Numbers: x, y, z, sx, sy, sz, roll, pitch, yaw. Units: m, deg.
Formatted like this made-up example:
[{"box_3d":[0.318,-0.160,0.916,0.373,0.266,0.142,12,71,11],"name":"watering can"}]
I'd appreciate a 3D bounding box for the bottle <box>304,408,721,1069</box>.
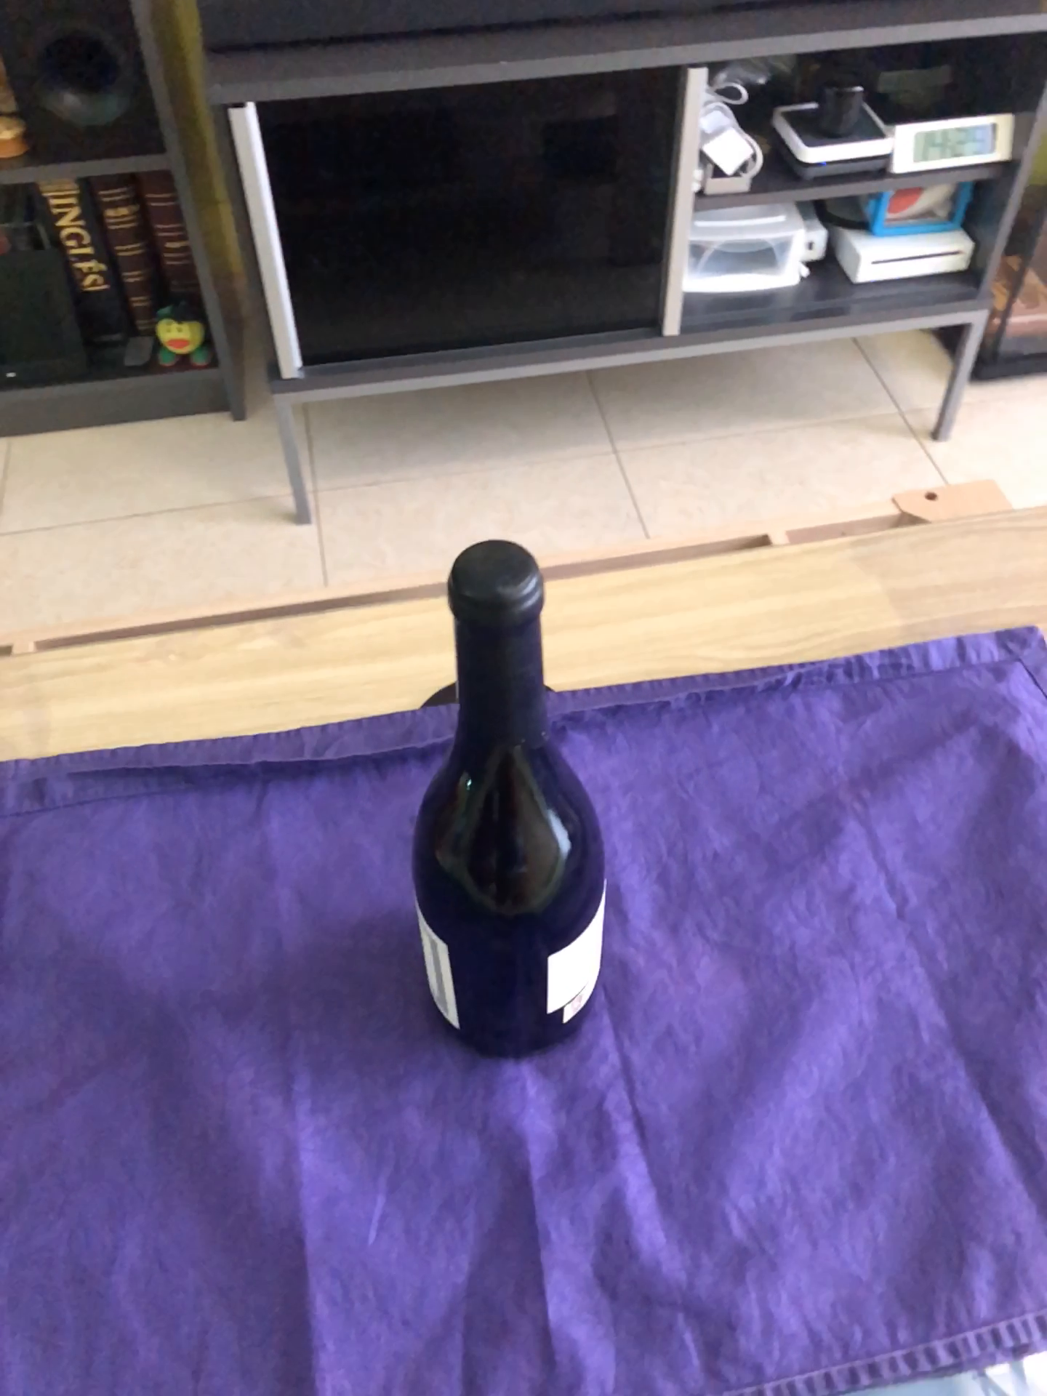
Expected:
[{"box_3d":[0.002,0.032,0.468,0.100,0.259,0.110,16,52,13],"name":"bottle"}]
